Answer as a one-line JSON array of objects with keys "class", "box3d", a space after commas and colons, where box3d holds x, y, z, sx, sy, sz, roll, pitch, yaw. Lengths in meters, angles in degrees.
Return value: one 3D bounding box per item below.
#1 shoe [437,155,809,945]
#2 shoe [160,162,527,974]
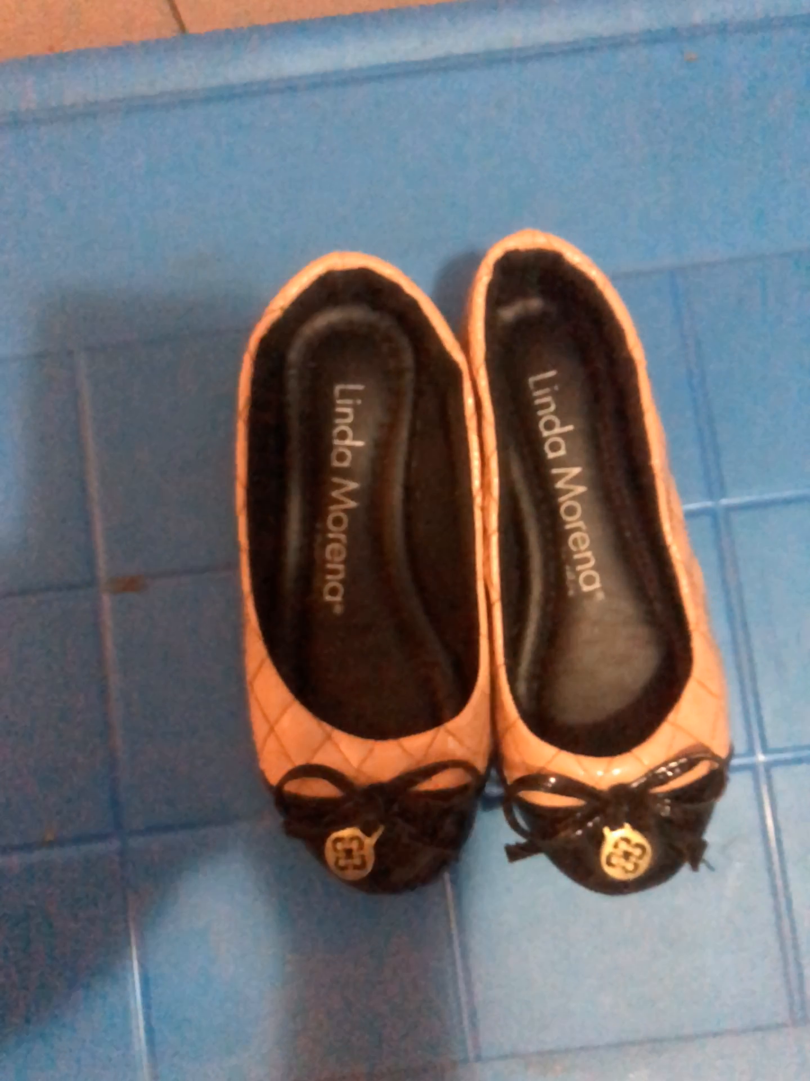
[{"class": "shoe", "box3d": [0.057, 0.002, 0.268, 0.070, 0.080, 0.190, -7, 86, 0]}, {"class": "shoe", "box3d": [-0.016, 0.006, 0.261, 0.070, 0.080, 0.190, -6, 86, 0]}]
